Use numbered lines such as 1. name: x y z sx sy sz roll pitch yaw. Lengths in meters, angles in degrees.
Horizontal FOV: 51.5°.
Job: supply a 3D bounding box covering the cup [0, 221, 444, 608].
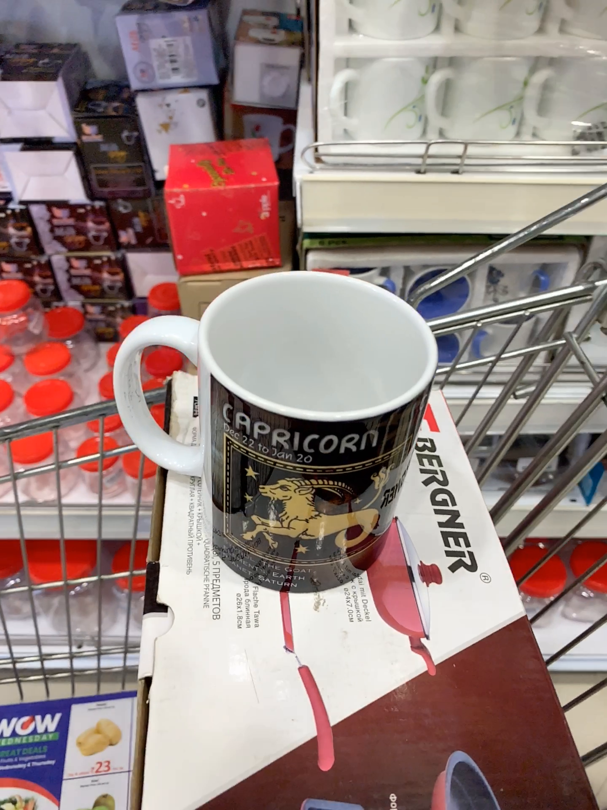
1. cup: -0.021 0.003 0.222 0.120 0.090 0.080 9 44 3
